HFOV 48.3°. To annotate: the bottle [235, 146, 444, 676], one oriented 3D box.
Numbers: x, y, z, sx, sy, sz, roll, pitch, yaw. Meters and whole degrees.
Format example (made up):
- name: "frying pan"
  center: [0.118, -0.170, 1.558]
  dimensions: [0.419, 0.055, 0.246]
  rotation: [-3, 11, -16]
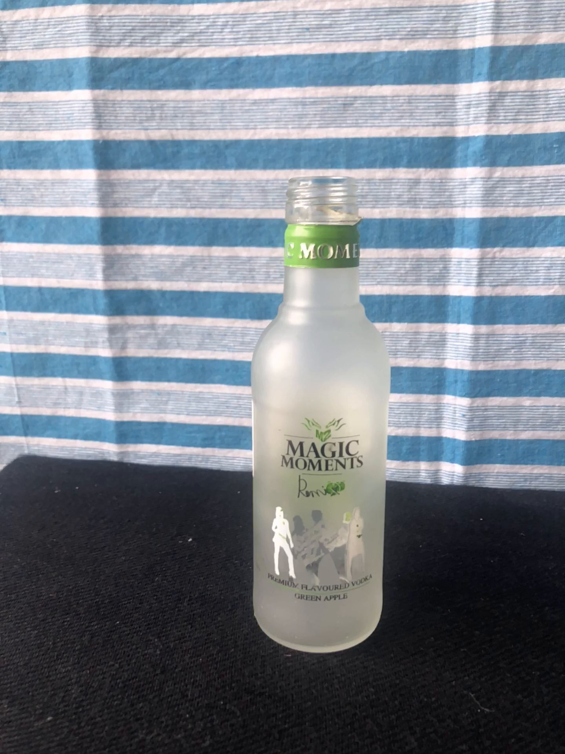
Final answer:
- name: "bottle"
  center: [0.014, 0.010, 0.195]
  dimensions: [0.050, 0.149, 0.050]
  rotation: [1, 16, 0]
